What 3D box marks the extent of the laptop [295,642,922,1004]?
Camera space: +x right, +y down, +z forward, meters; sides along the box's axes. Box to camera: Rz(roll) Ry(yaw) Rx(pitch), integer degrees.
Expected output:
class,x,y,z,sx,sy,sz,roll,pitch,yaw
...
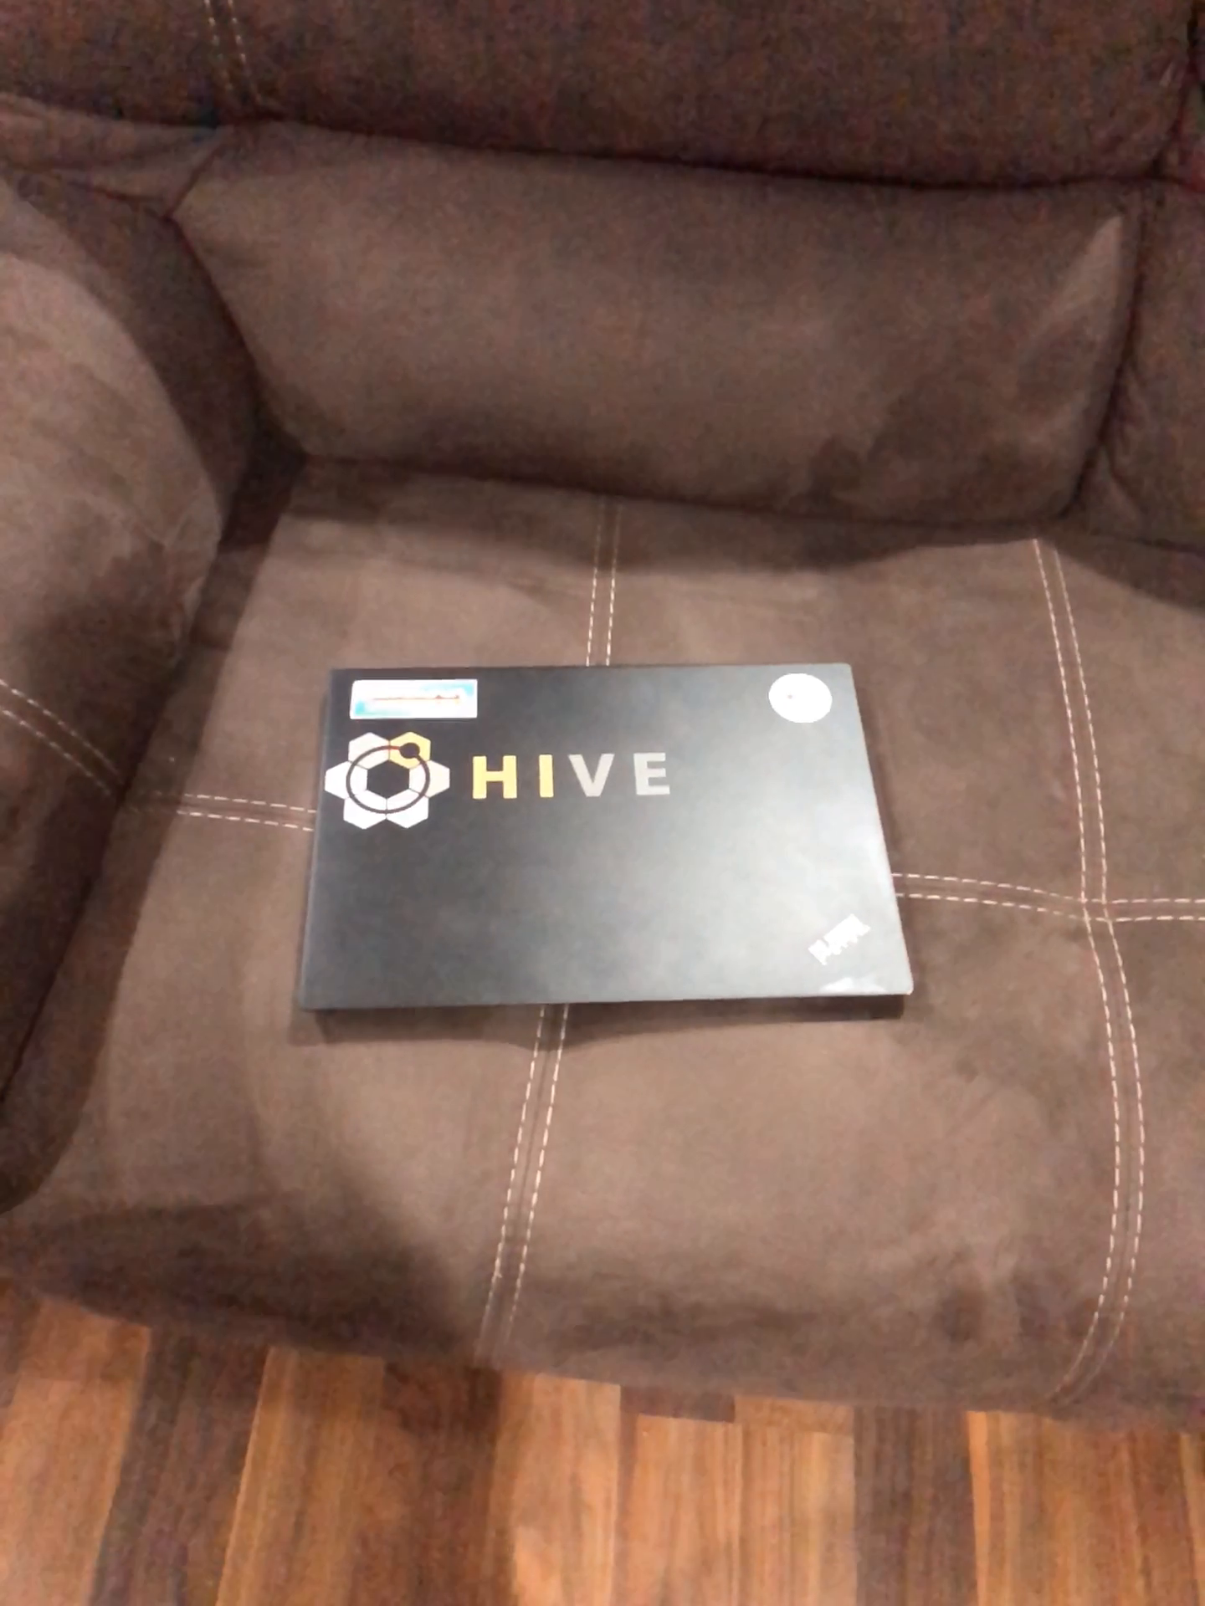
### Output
class,x,y,z,sx,sy,sz,roll,pitch,yaw
laptop,0.000,0.003,0.767,0.328,0.019,0.236,-1,55,-1
